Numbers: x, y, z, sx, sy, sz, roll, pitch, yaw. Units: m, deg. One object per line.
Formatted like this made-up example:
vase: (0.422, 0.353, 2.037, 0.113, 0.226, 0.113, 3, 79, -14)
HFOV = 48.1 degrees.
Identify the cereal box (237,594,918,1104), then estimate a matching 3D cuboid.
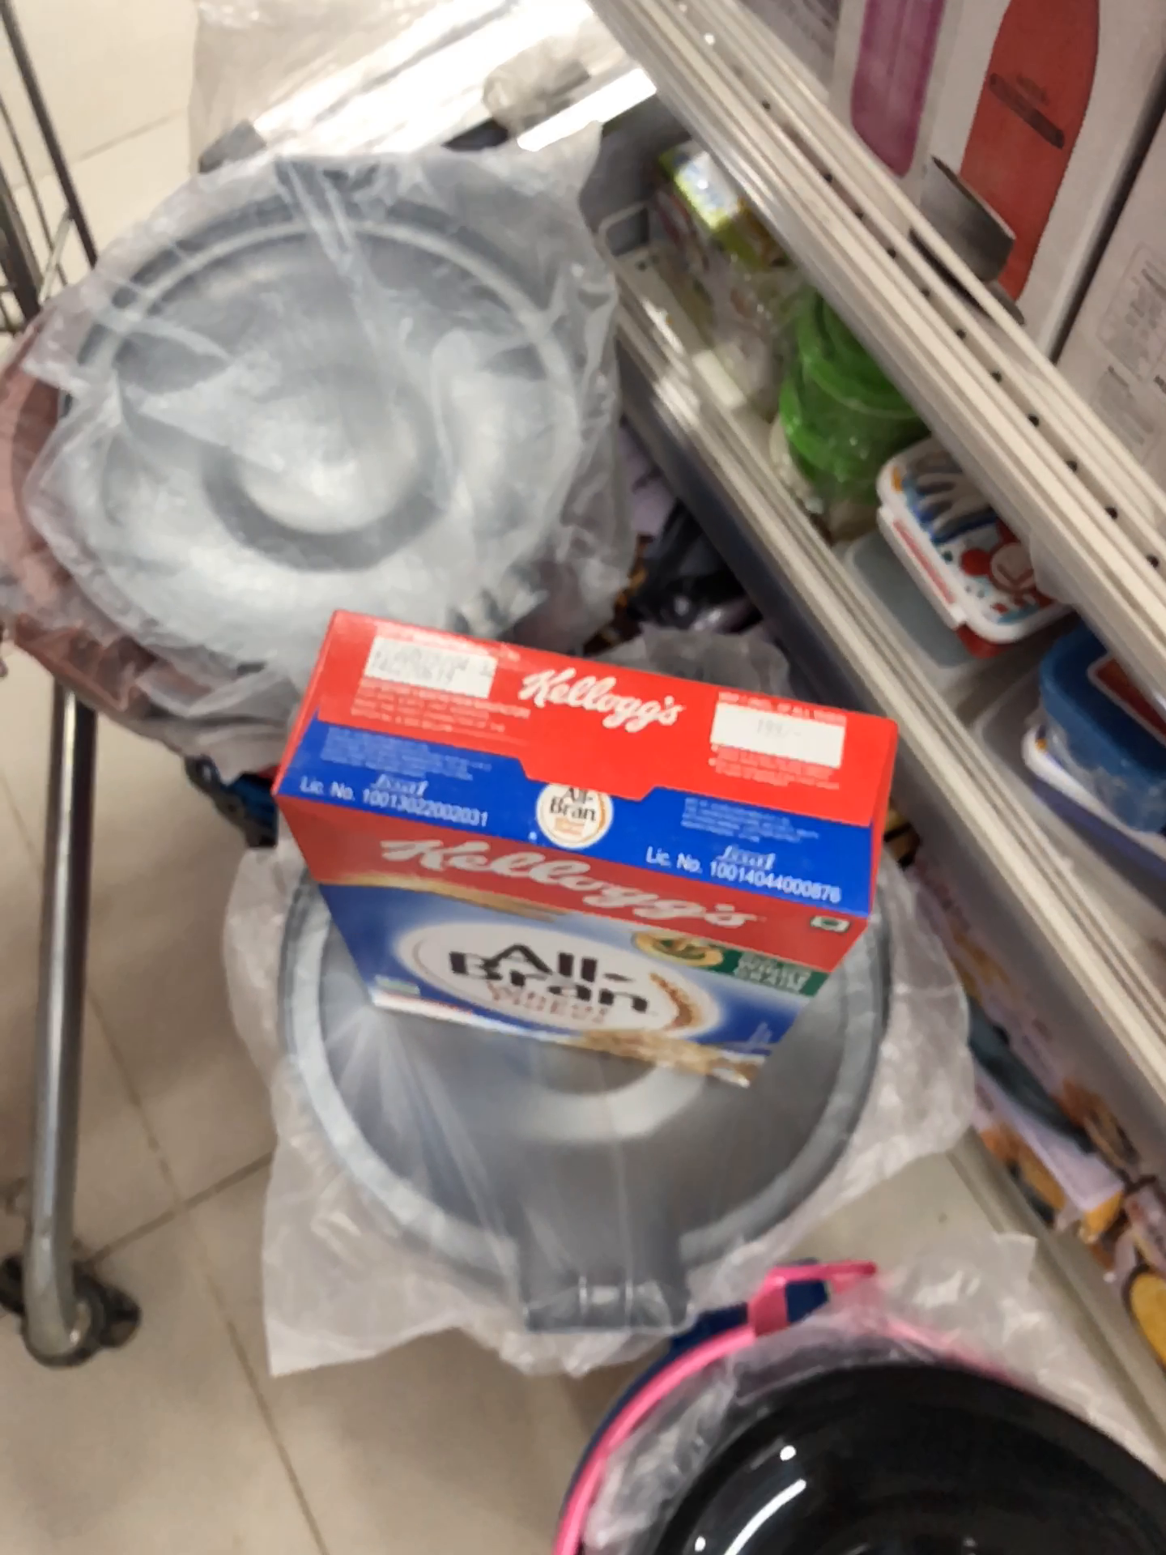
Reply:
cereal box: (-0.001, 0.048, 0.510, 0.190, 0.270, 0.070, 12, 67, 5)
